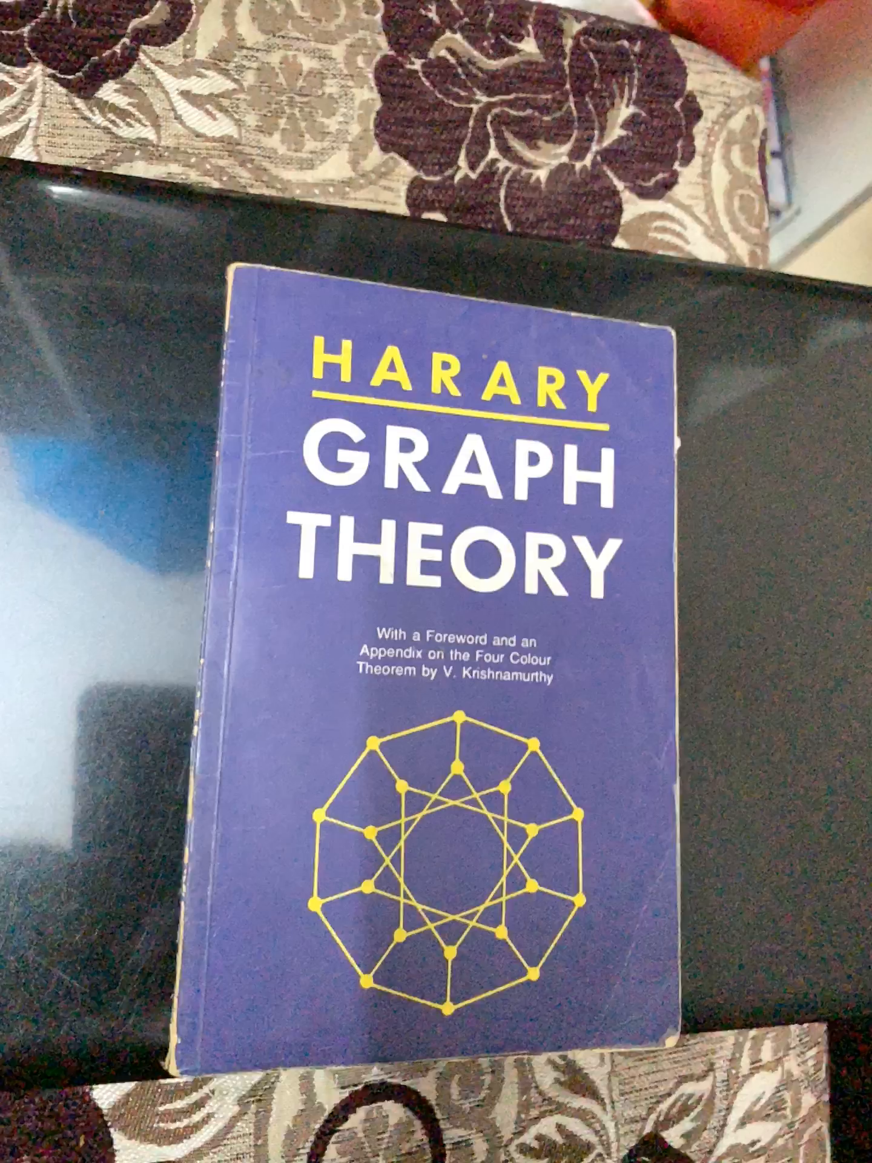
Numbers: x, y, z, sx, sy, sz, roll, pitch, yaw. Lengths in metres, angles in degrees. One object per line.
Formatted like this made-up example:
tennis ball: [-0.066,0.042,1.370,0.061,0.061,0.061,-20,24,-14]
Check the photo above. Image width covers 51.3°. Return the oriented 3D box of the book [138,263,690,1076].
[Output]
book: [0.001,0.022,0.250,0.140,0.020,0.200,5,81,-14]
